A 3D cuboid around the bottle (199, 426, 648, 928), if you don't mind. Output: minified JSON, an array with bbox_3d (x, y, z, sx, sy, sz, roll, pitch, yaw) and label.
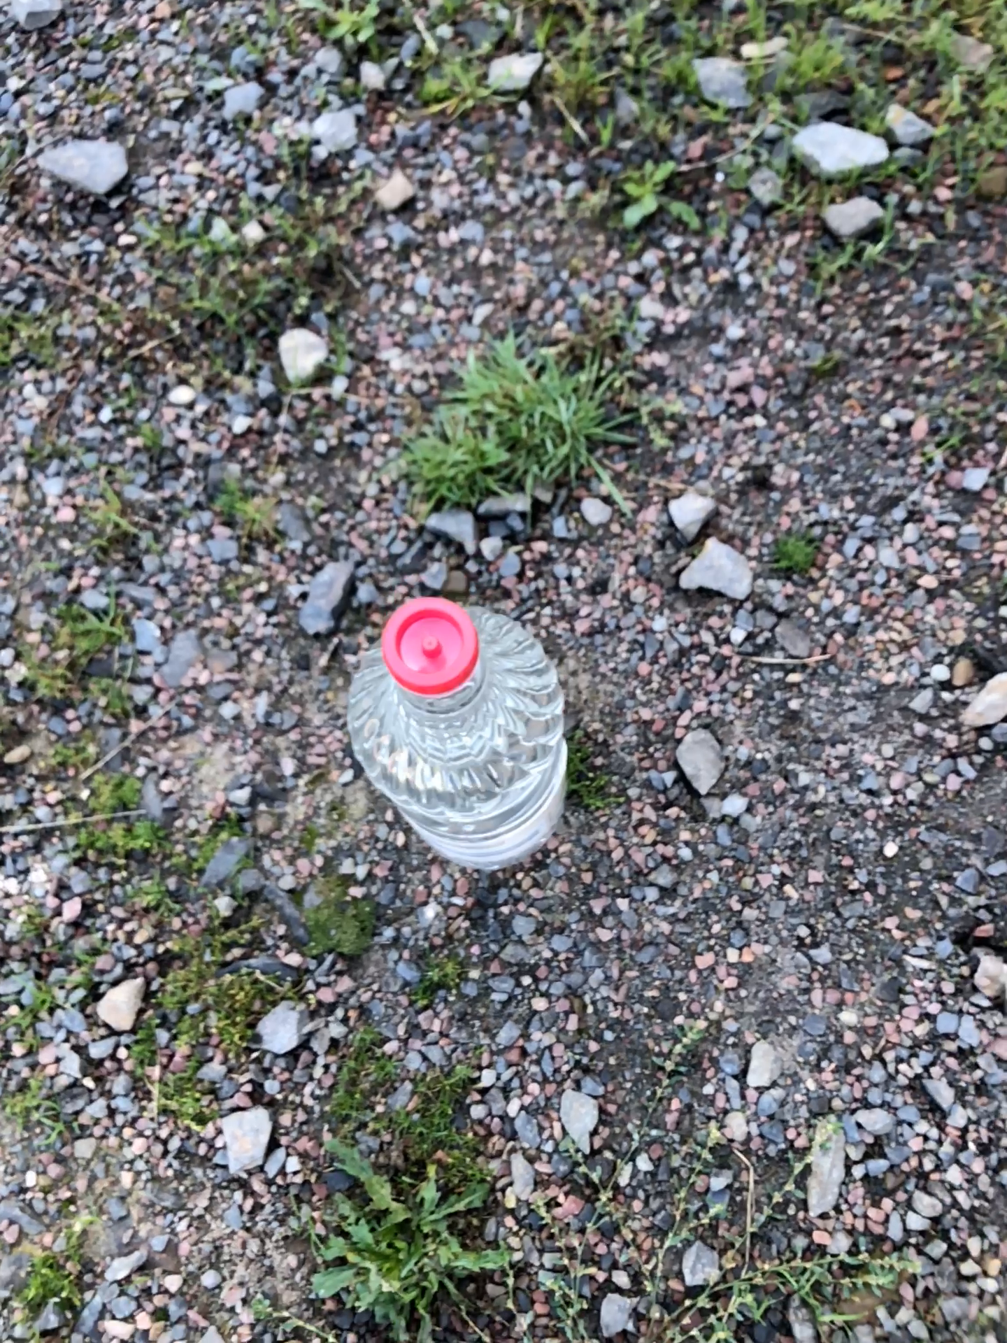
[{"bbox_3d":[-0.015,0.024,0.464,0.100,0.250,0.100,-2,72,5],"label":"bottle"}]
